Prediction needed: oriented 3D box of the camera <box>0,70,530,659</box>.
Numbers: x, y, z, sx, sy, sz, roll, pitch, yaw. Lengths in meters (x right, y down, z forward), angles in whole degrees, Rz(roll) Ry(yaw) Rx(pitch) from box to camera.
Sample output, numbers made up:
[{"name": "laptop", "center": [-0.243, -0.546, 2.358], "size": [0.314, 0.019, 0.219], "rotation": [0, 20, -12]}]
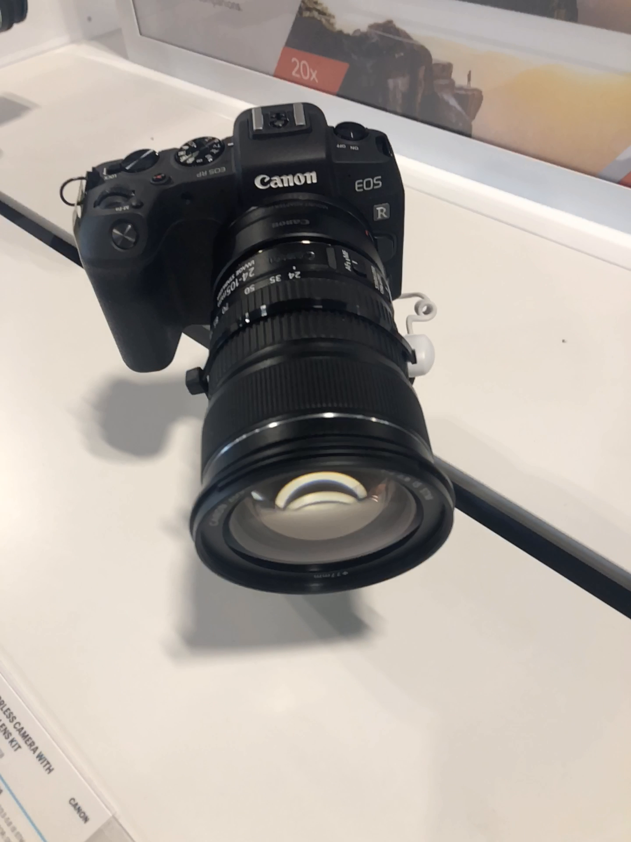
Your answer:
[{"name": "camera", "center": [-0.029, -0.034, 0.252], "size": [0.136, 0.089, 0.191], "rotation": [-8, 48, -3]}]
